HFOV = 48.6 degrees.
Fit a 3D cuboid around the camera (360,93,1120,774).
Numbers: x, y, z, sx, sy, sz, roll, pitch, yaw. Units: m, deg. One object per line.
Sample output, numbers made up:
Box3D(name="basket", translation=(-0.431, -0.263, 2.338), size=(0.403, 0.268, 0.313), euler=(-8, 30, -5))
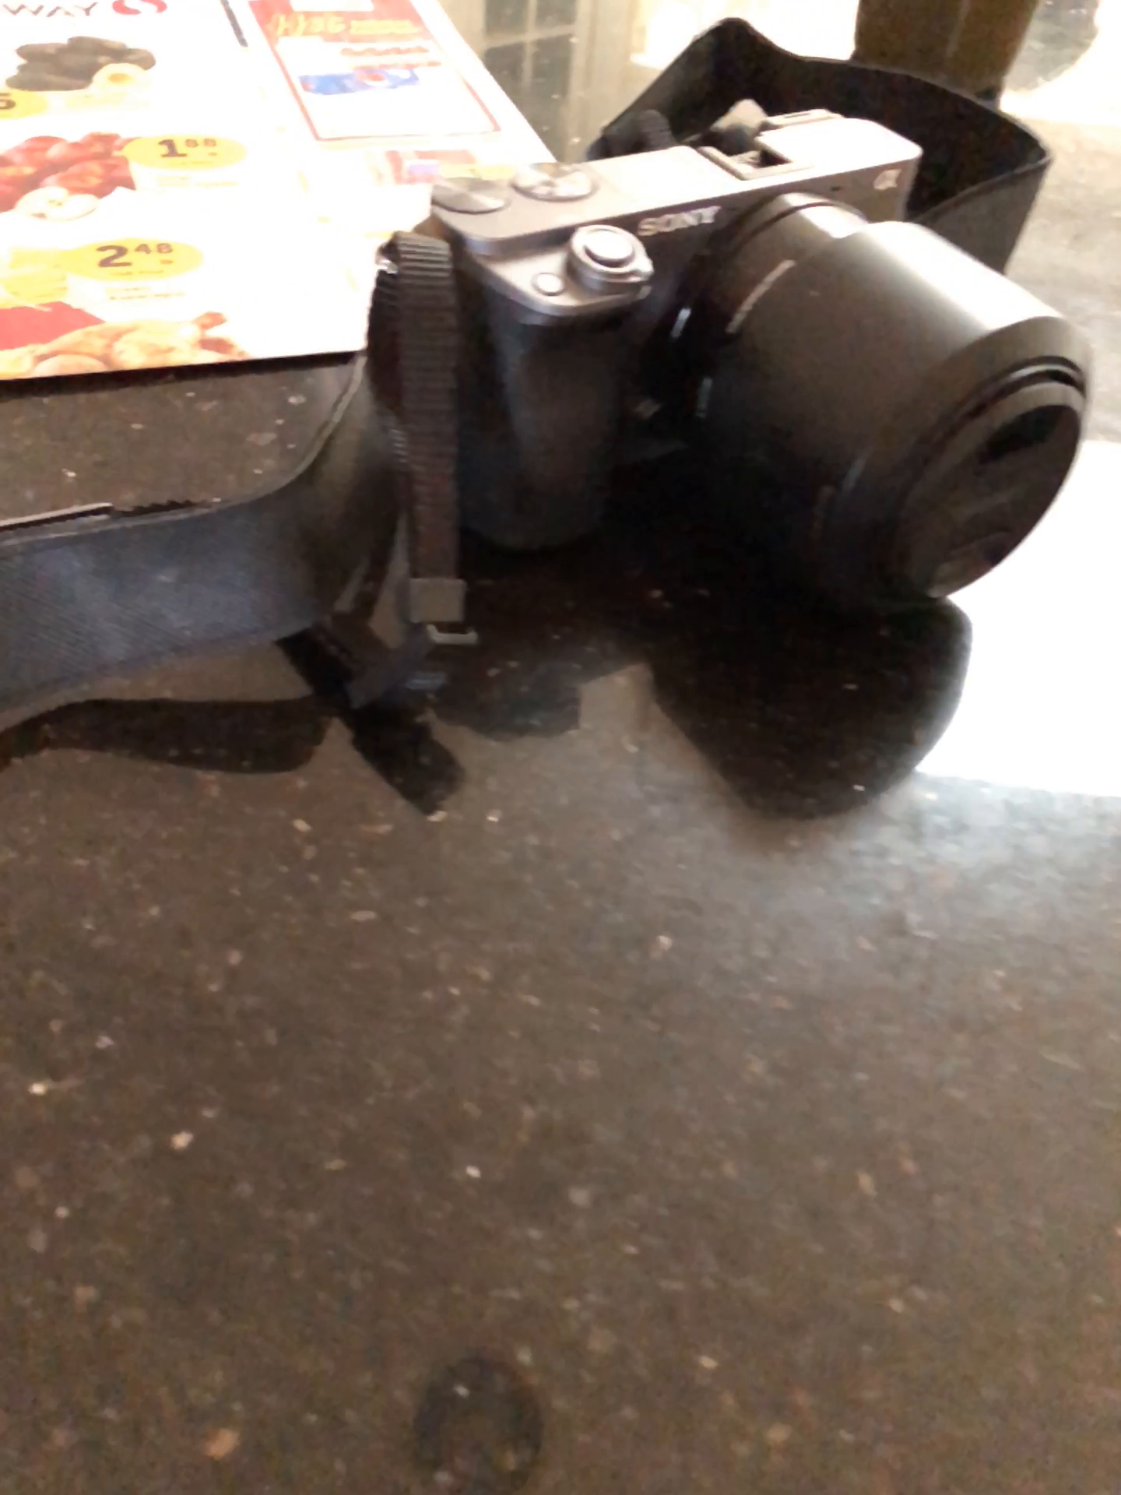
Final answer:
Box3D(name="camera", translation=(0.041, -0.077, 0.270), size=(0.130, 0.070, 0.110), euler=(-22, 54, -25))
